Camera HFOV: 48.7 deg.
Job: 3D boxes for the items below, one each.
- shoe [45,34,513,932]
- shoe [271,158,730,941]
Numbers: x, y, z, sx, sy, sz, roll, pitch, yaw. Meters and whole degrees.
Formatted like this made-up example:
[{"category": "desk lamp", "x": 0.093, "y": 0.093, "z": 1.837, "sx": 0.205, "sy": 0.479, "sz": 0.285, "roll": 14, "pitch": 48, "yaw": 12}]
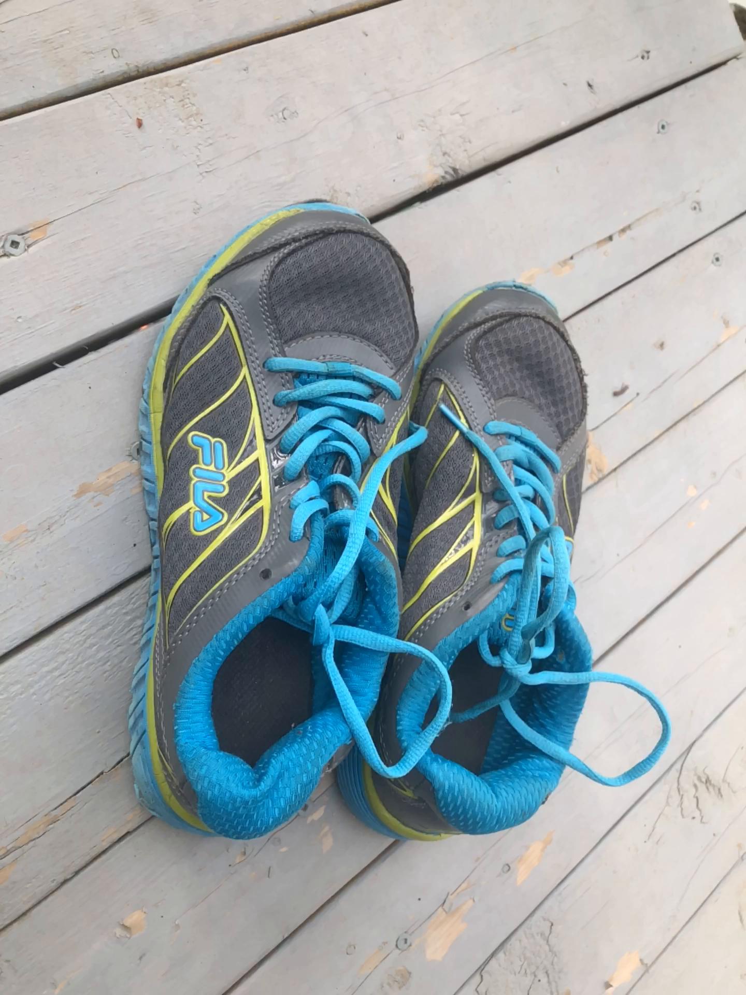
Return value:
[{"category": "shoe", "x": -0.045, "y": -0.001, "z": 0.343, "sx": 0.110, "sy": 0.130, "sz": 0.290, "roll": 12, "pitch": 84, "yaw": -25}, {"category": "shoe", "x": 0.055, "y": 0.022, "z": 0.355, "sx": 0.110, "sy": 0.090, "sz": 0.280, "roll": 17, "pitch": 81, "yaw": -24}]
